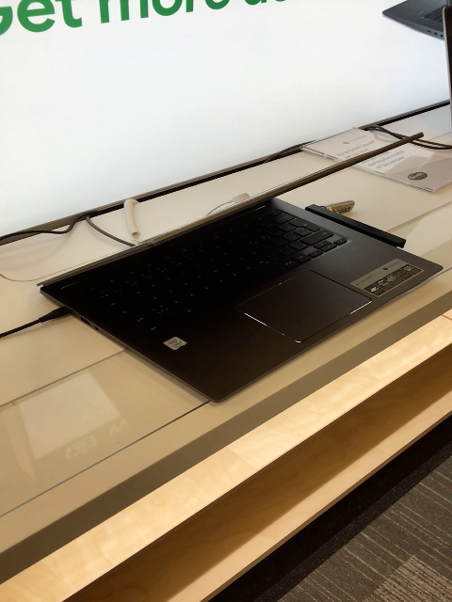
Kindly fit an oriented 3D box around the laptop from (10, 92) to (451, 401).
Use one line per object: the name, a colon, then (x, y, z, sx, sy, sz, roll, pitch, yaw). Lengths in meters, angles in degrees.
laptop: (0.027, -0.073, 0.585, 0.314, 0.148, 0.240, -30, 50, -29)
